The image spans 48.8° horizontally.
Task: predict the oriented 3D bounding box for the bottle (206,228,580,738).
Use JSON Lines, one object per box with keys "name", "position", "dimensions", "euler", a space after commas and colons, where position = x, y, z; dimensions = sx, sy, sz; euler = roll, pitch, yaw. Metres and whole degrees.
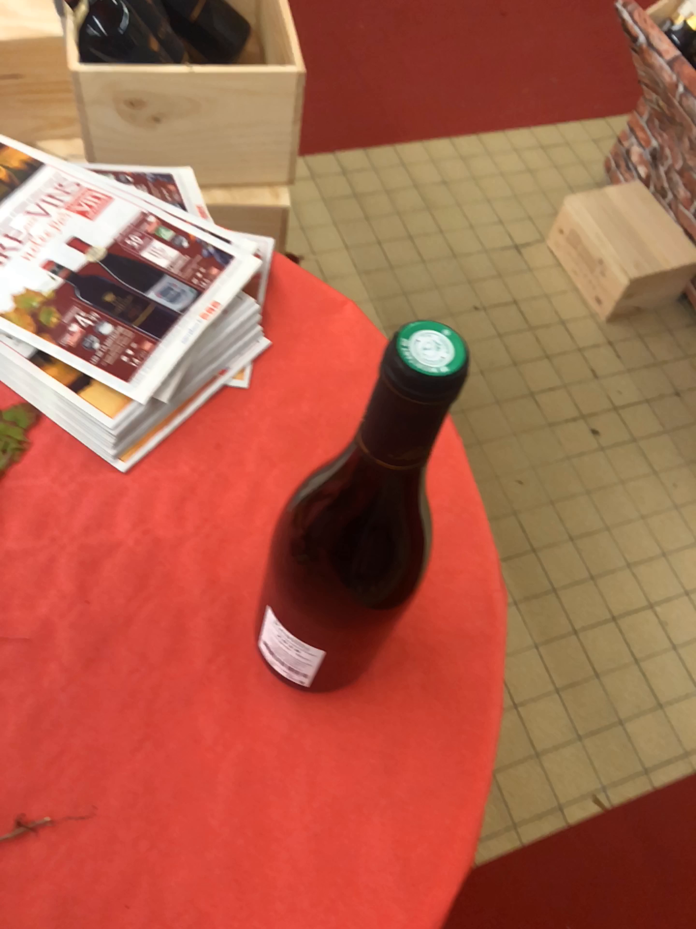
{"name": "bottle", "position": [0.000, 0.038, 0.370], "dimensions": [0.090, 0.279, 0.090], "euler": [4, 59, -7]}
